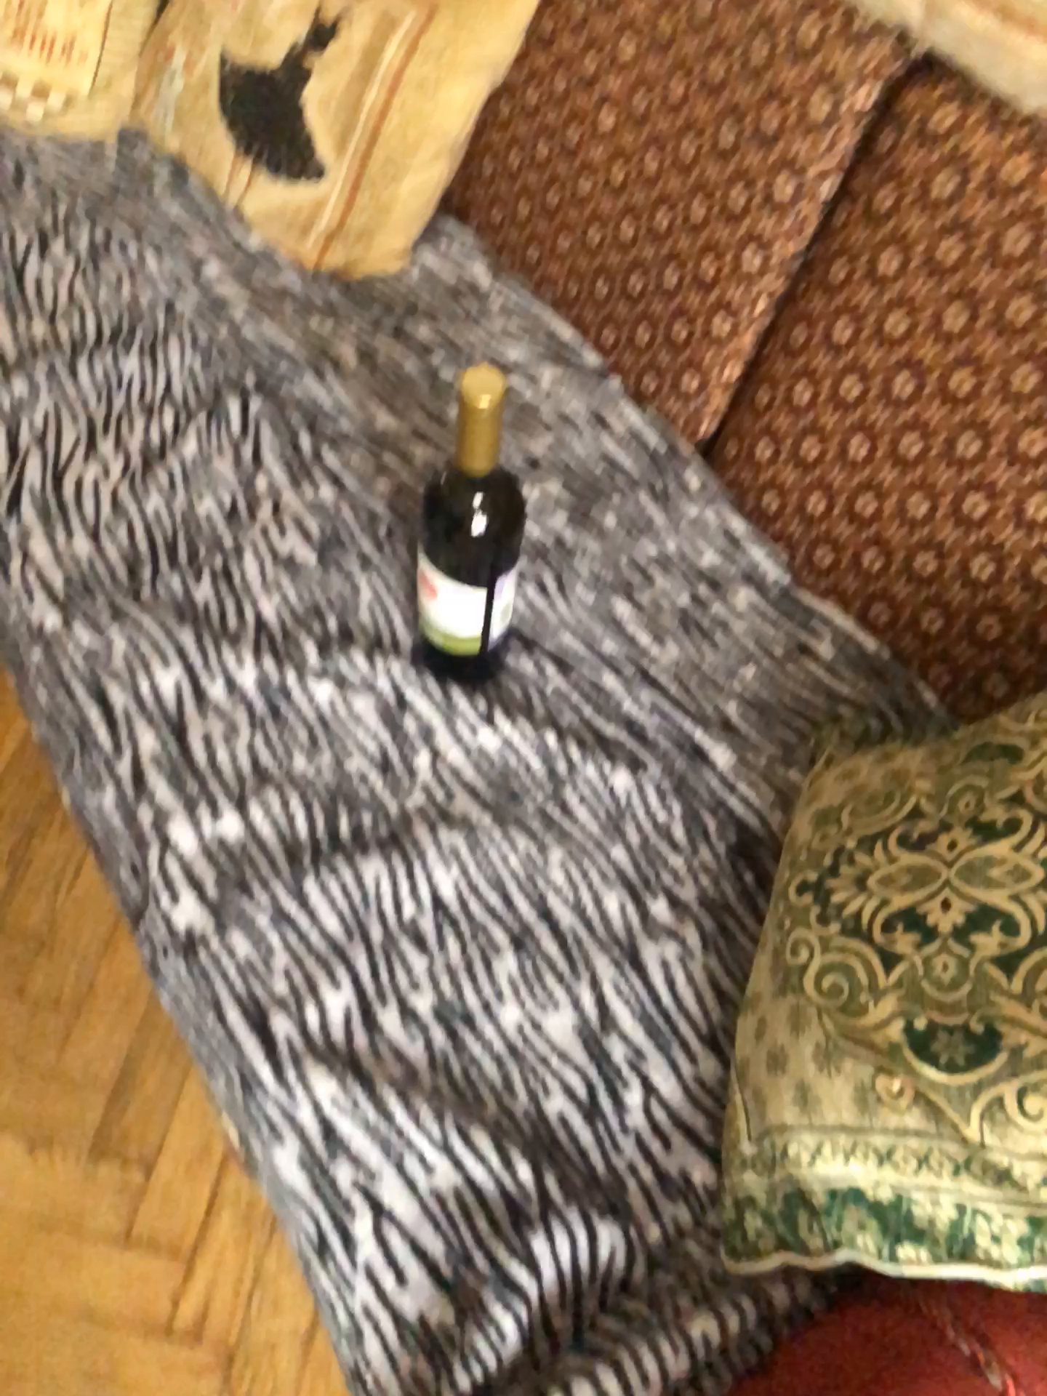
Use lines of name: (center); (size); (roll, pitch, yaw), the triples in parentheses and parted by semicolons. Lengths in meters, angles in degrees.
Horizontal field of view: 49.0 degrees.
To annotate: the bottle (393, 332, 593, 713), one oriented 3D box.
bottle: (-0.031, -0.107, 0.789); (0.080, 0.269, 0.080); (4, 58, -6)
